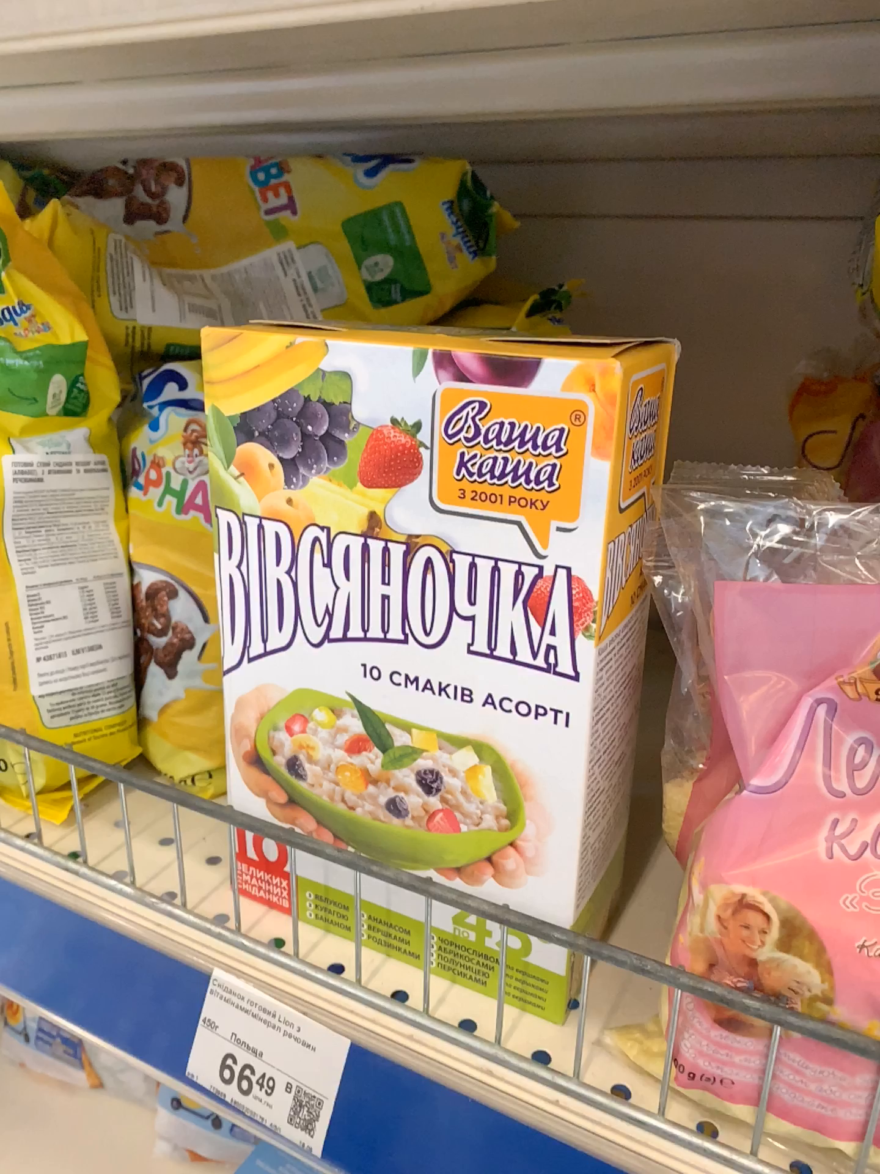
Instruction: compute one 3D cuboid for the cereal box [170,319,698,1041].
[{"bbox_3d":[-0.006,0.020,0.318,0.150,0.209,0.070,11,20,26],"label":"cereal box"}]
